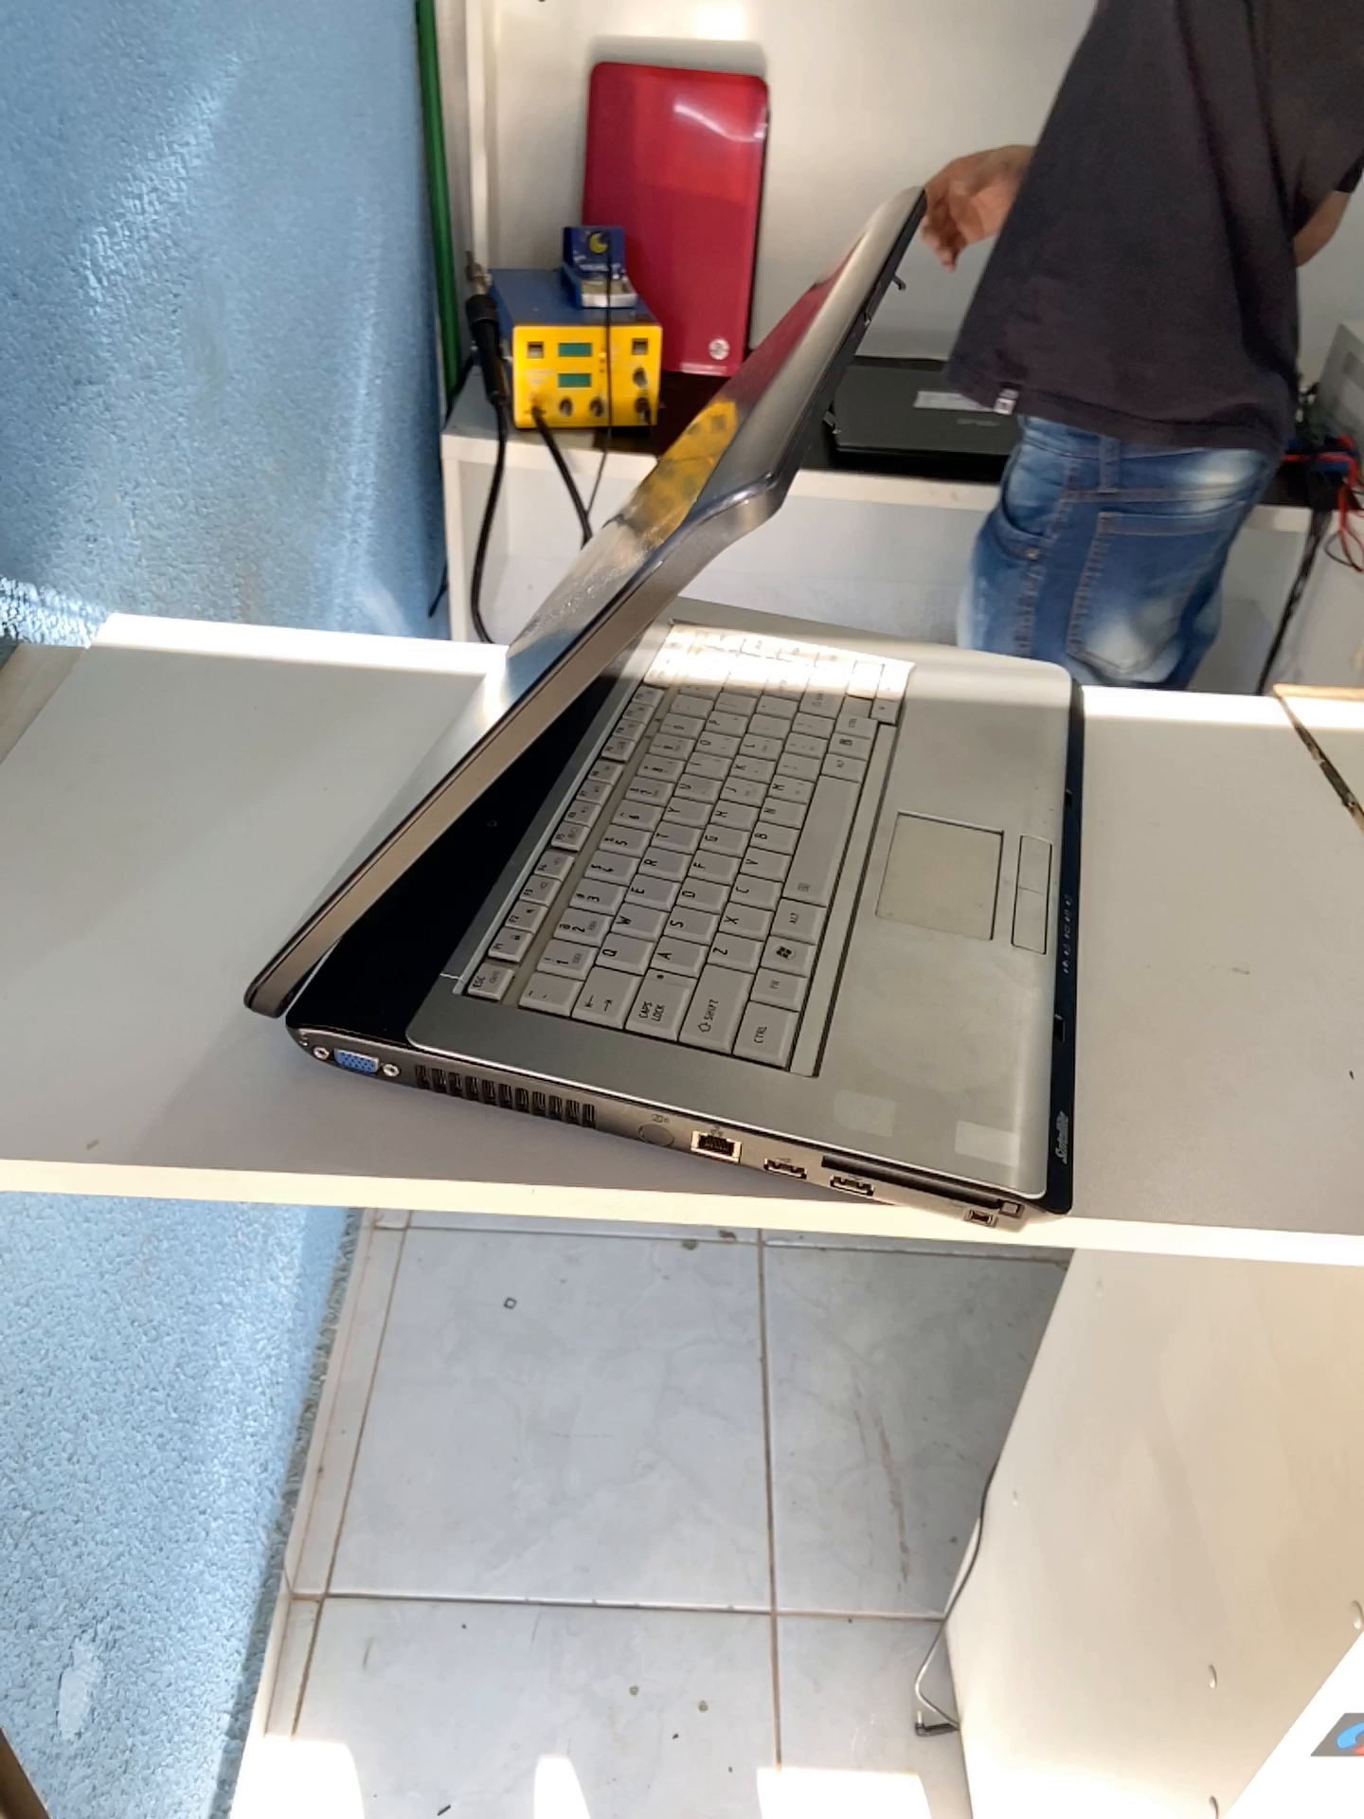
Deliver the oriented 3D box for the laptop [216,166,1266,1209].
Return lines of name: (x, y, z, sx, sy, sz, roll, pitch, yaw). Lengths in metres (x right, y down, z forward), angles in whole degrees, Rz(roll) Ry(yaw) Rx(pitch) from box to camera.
laptop: (0.046, -0.116, 0.518, 0.245, 0.202, 0.353, 12, 38, 9)
